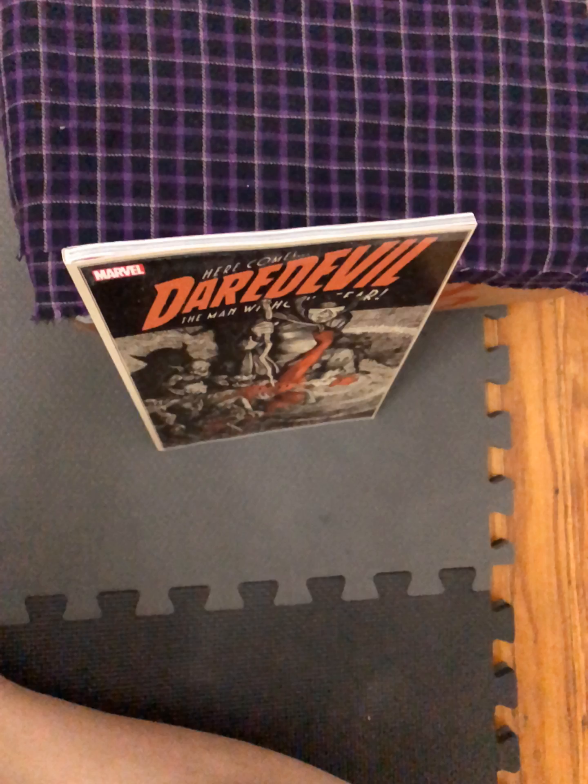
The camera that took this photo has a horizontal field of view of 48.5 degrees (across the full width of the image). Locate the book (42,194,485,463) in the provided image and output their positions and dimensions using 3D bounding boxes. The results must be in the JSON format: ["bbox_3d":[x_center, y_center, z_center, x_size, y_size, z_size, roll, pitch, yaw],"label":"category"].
[{"bbox_3d":[-0.015,-0.014,0.345,0.160,0.230,0.020,-9,70,-6],"label":"book"}]
